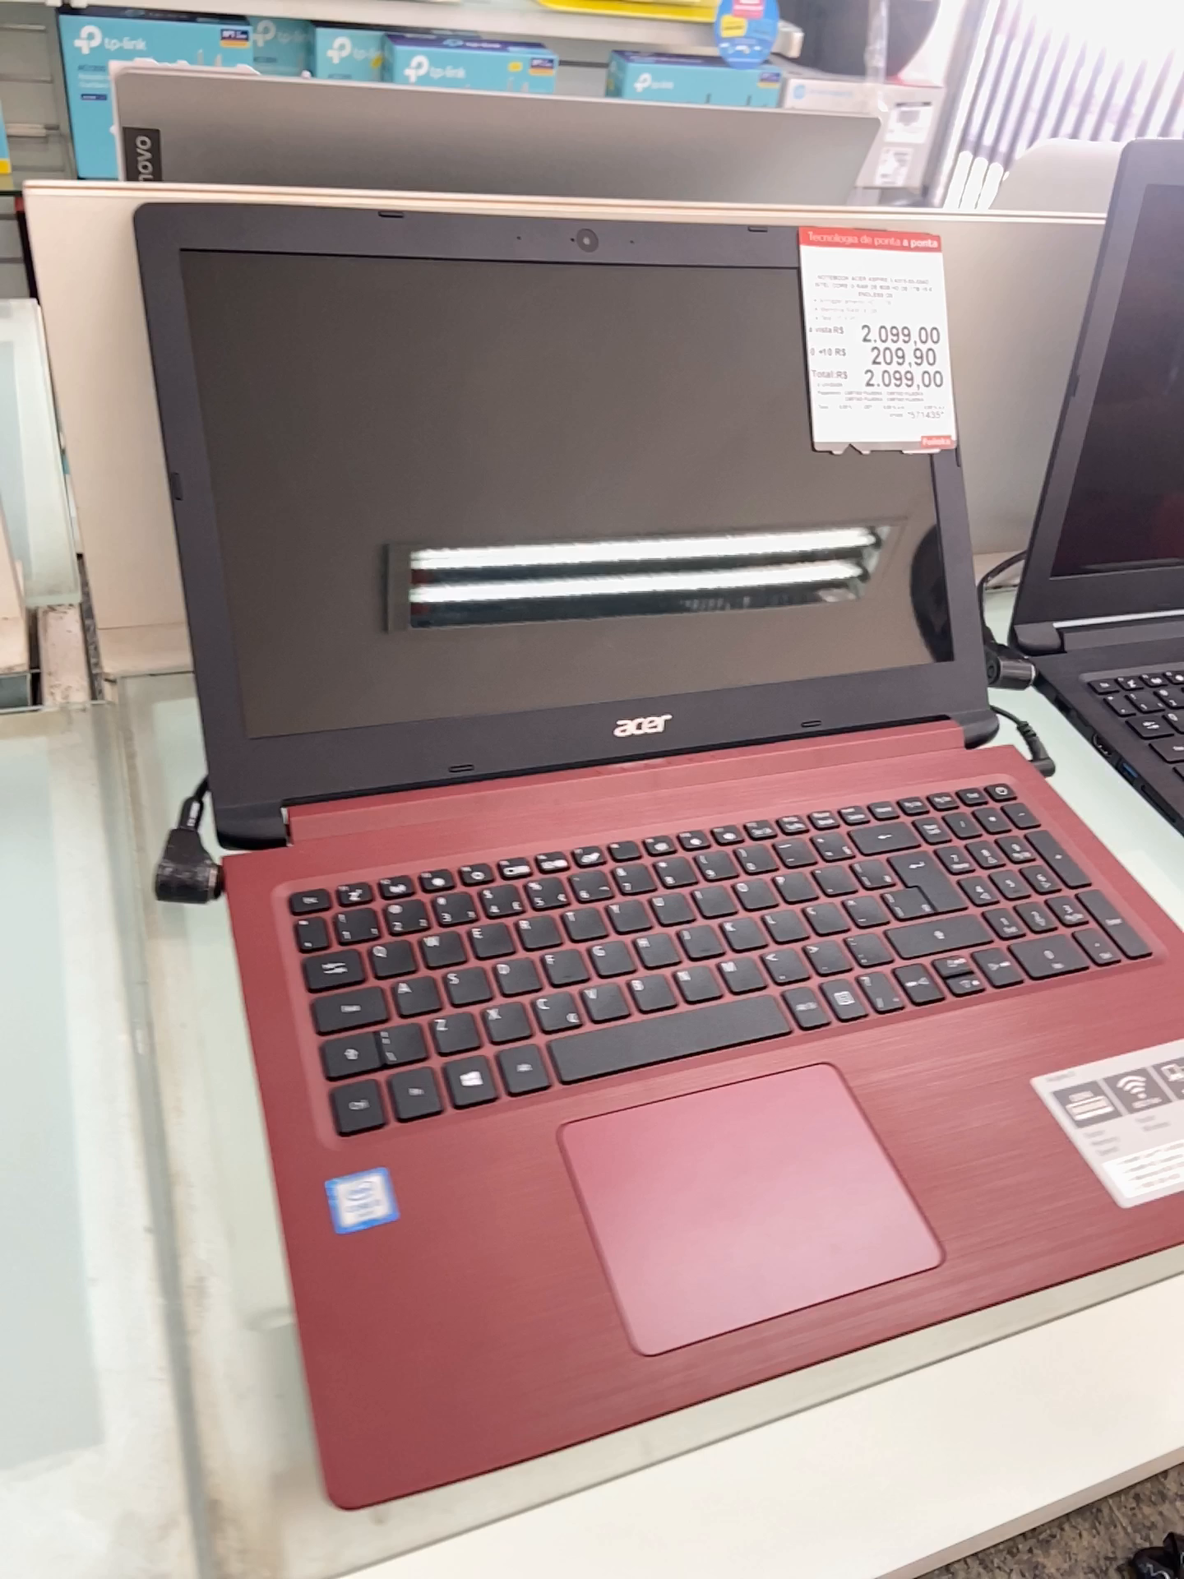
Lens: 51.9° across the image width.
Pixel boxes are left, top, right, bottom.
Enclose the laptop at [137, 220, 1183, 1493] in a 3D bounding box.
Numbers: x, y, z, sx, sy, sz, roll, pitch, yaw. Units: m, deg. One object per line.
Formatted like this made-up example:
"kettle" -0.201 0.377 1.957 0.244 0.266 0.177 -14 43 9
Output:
"laptop" 0.054 -0.048 0.478 0.392 0.193 0.431 -8 43 -19
